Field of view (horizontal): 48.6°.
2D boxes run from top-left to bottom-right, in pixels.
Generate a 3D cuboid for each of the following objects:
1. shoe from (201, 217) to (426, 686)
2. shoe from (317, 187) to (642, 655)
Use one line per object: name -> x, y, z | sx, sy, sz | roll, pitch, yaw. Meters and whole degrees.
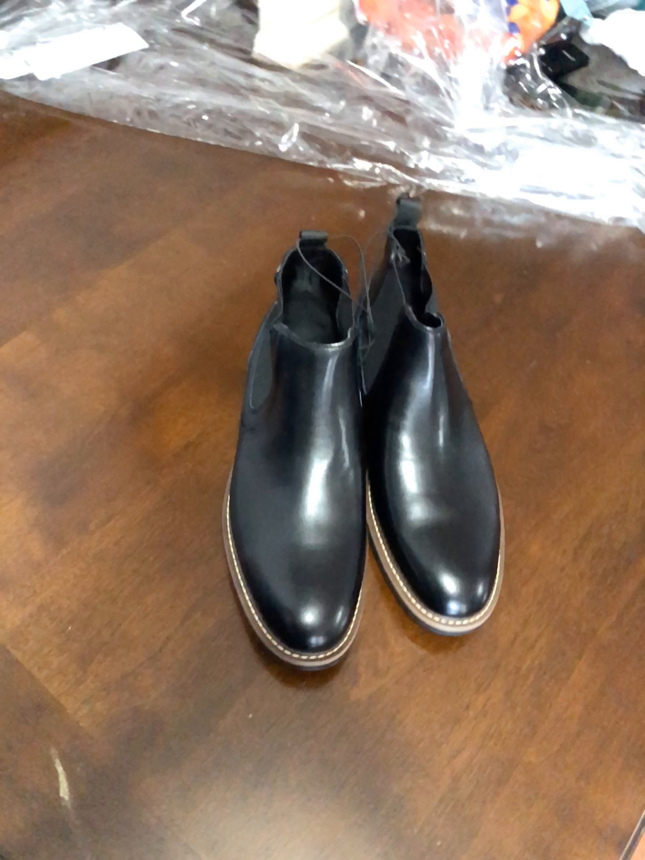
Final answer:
shoe -> -0.020, 0.012, 0.532 | 0.120, 0.170, 0.301 | -1, 57, -6
shoe -> 0.087, -0.012, 0.542 | 0.120, 0.170, 0.300 | -7, 58, -9
